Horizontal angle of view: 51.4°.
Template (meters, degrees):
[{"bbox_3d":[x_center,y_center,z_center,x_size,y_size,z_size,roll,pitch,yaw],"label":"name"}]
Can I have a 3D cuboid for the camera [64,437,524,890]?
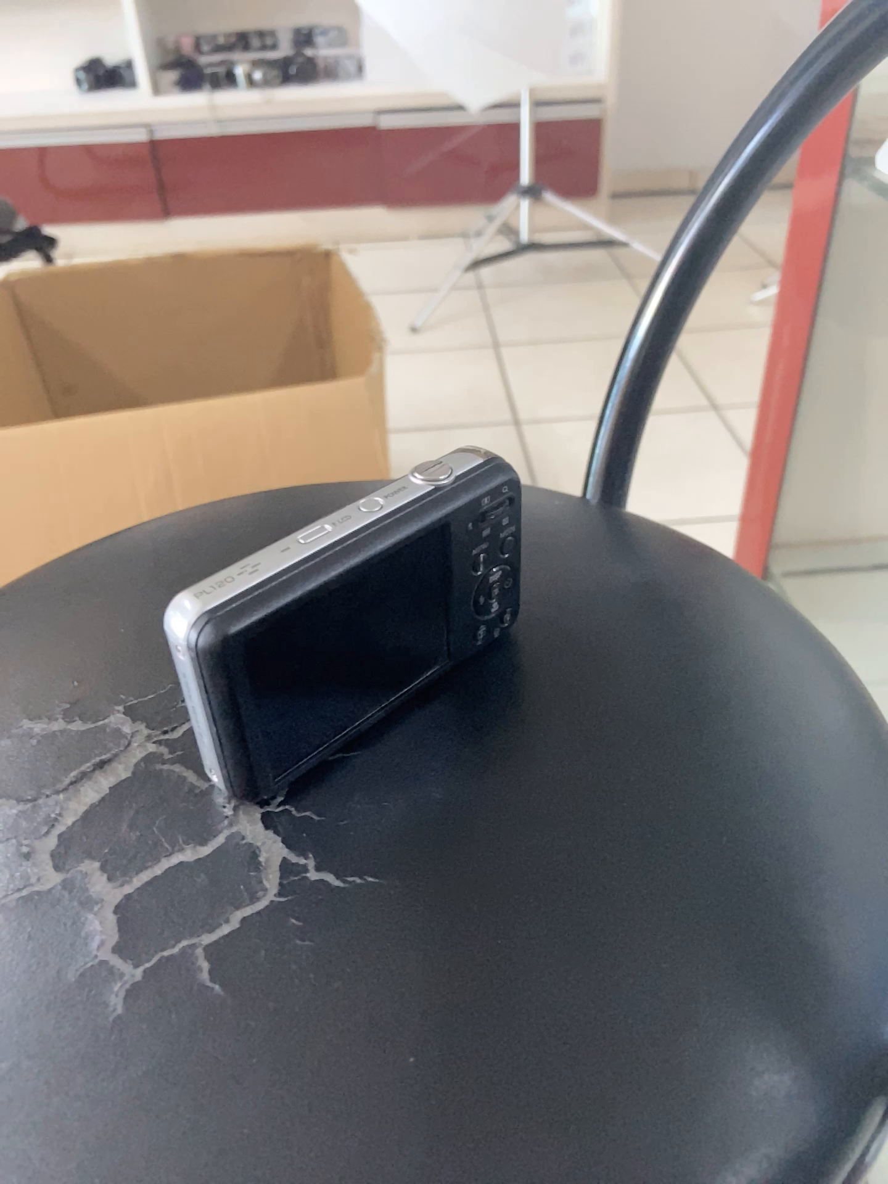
[{"bbox_3d":[-0.027,0.012,0.217,0.100,0.060,0.030,-30,44,-32],"label":"camera"}]
